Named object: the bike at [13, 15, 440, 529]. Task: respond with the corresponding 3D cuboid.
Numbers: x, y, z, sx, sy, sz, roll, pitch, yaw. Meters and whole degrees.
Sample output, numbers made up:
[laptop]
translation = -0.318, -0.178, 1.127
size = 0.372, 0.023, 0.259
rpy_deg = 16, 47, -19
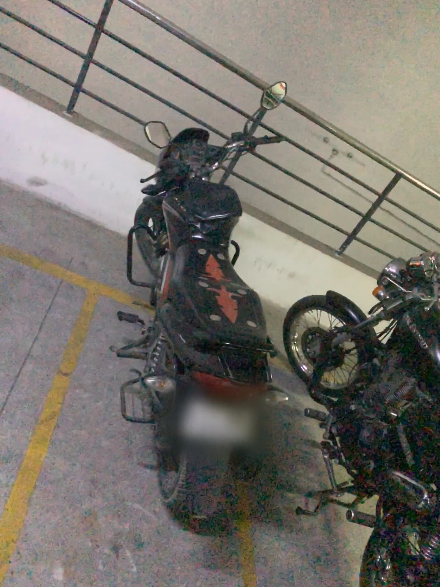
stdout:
[bike]
translation = -0.217, -0.211, 1.838
size = 0.757, 1.067, 1.680
rpy_deg = 17, 32, -29
